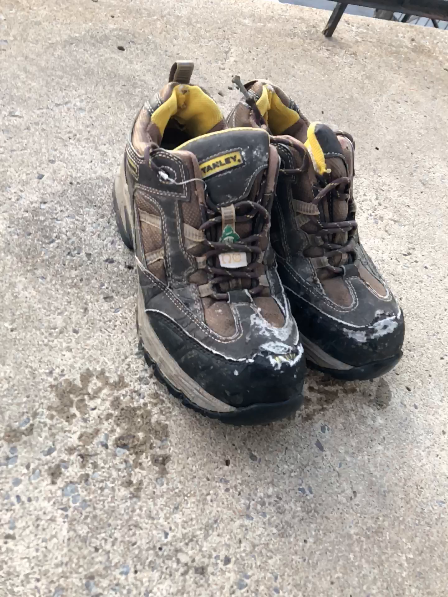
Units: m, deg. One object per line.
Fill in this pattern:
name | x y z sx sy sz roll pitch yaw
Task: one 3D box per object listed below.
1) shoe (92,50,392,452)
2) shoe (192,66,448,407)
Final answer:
shoe | -0.014 -0.040 0.377 0.100 0.149 0.251 -9 61 -27
shoe | 0.086 -0.056 0.442 0.120 0.169 0.231 -9 61 -27
